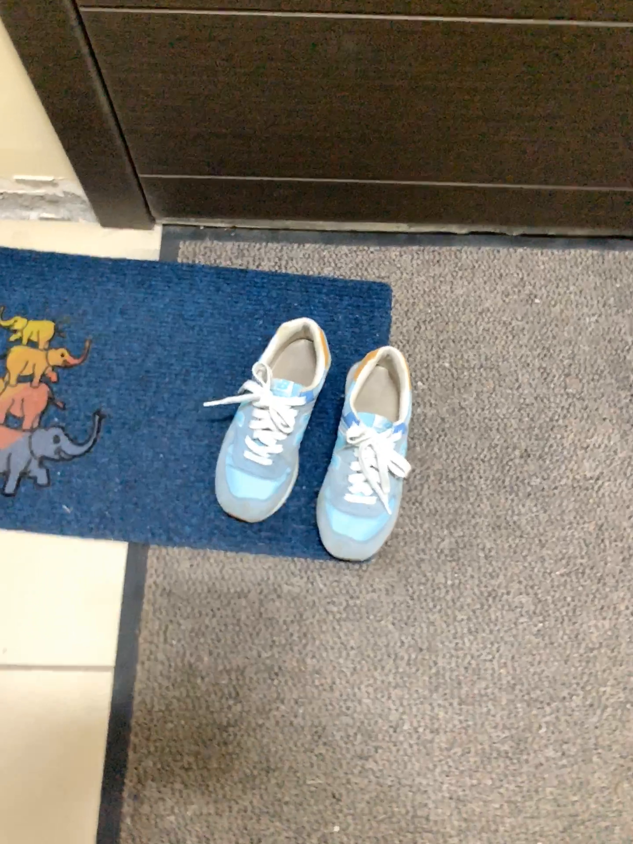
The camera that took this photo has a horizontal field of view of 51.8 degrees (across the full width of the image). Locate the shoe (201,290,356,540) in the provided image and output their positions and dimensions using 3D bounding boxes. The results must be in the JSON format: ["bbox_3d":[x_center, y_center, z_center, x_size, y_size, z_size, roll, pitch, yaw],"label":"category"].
[{"bbox_3d":[-0.045,-0.004,0.784,0.080,0.140,0.260,22,71,1],"label":"shoe"}]

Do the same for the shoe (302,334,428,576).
[{"bbox_3d":[0.059,0.041,0.775,0.090,0.120,0.250,12,70,6],"label":"shoe"}]
